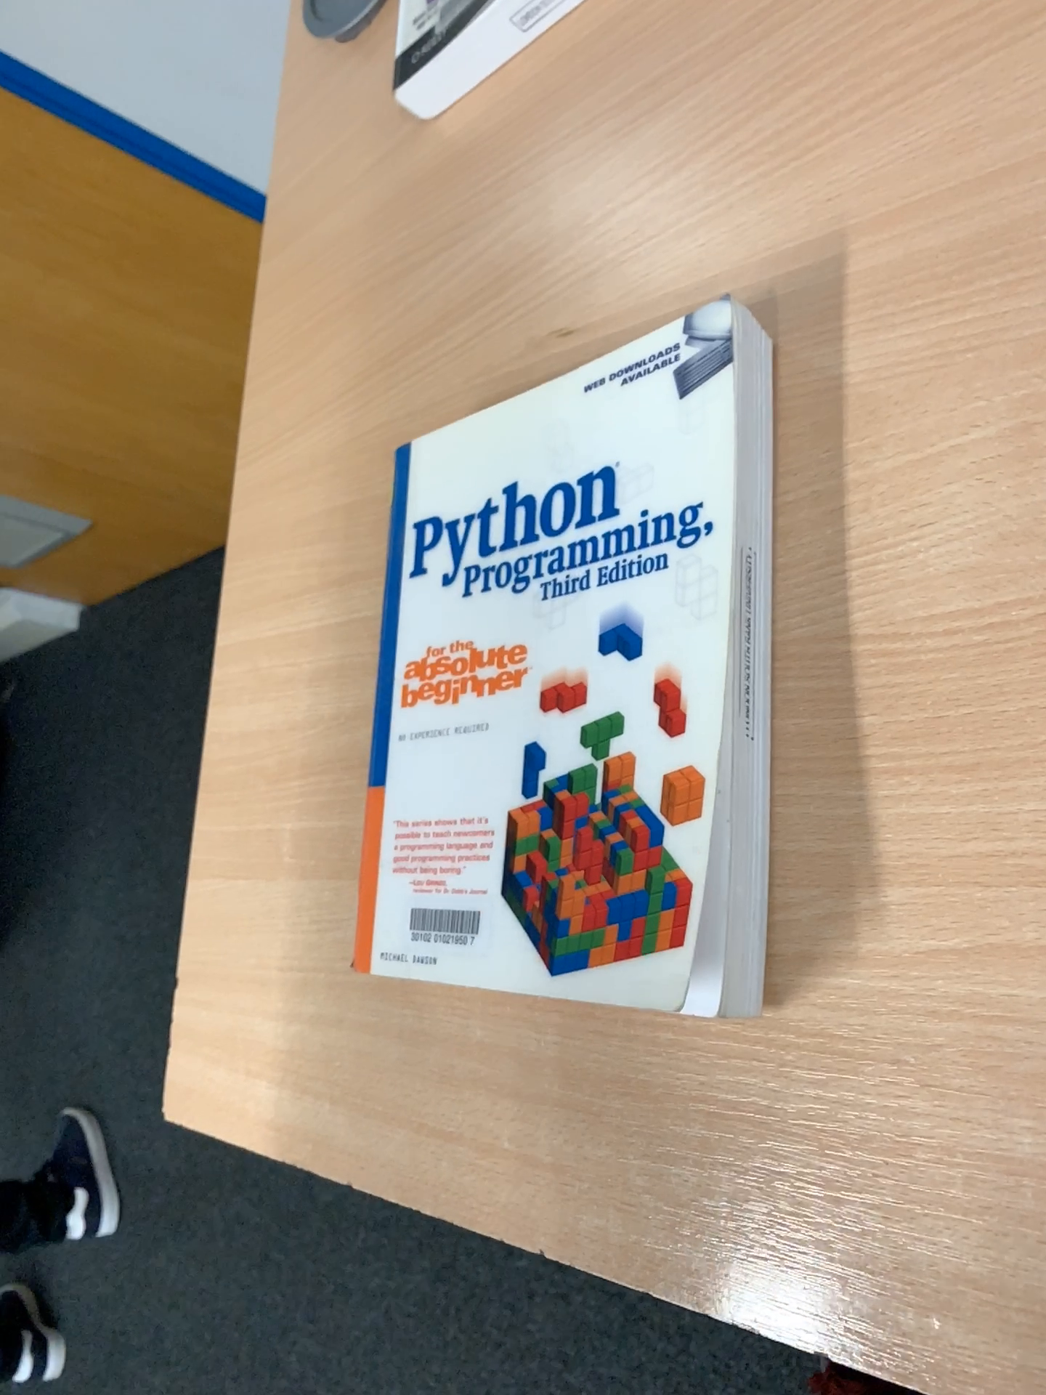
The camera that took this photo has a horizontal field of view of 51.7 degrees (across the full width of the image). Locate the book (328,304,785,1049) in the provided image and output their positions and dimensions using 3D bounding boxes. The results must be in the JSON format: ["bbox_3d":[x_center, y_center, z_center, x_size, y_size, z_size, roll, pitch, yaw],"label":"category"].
[{"bbox_3d":[0.006,-0.001,0.384,0.175,0.039,0.219,-9,72,46],"label":"book"}]
